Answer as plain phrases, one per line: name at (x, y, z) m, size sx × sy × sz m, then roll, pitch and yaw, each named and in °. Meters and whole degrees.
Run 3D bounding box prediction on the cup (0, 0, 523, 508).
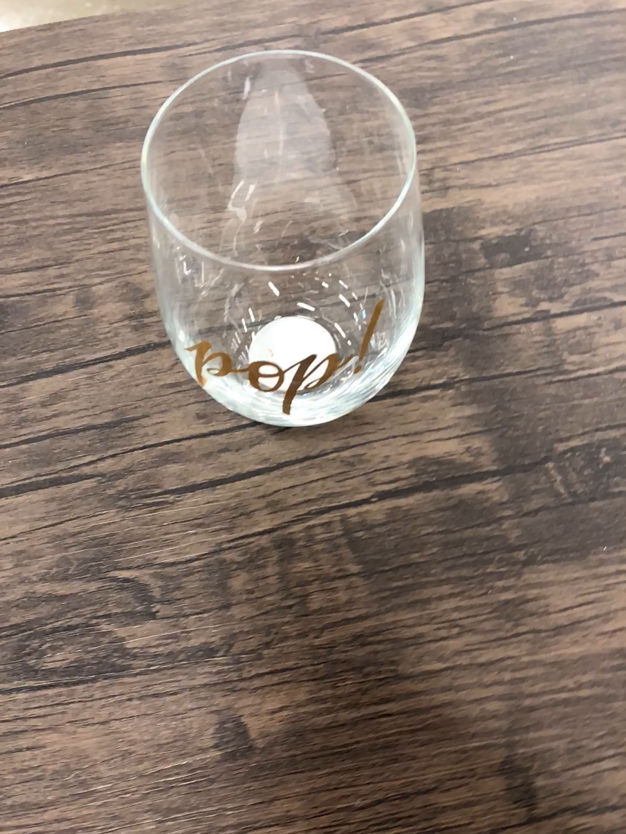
cup at (-0.013, -0.054, 0.236) m, size 0.100 × 0.130 × 0.100 m, roll -1°, pitch 67°, yaw 1°
